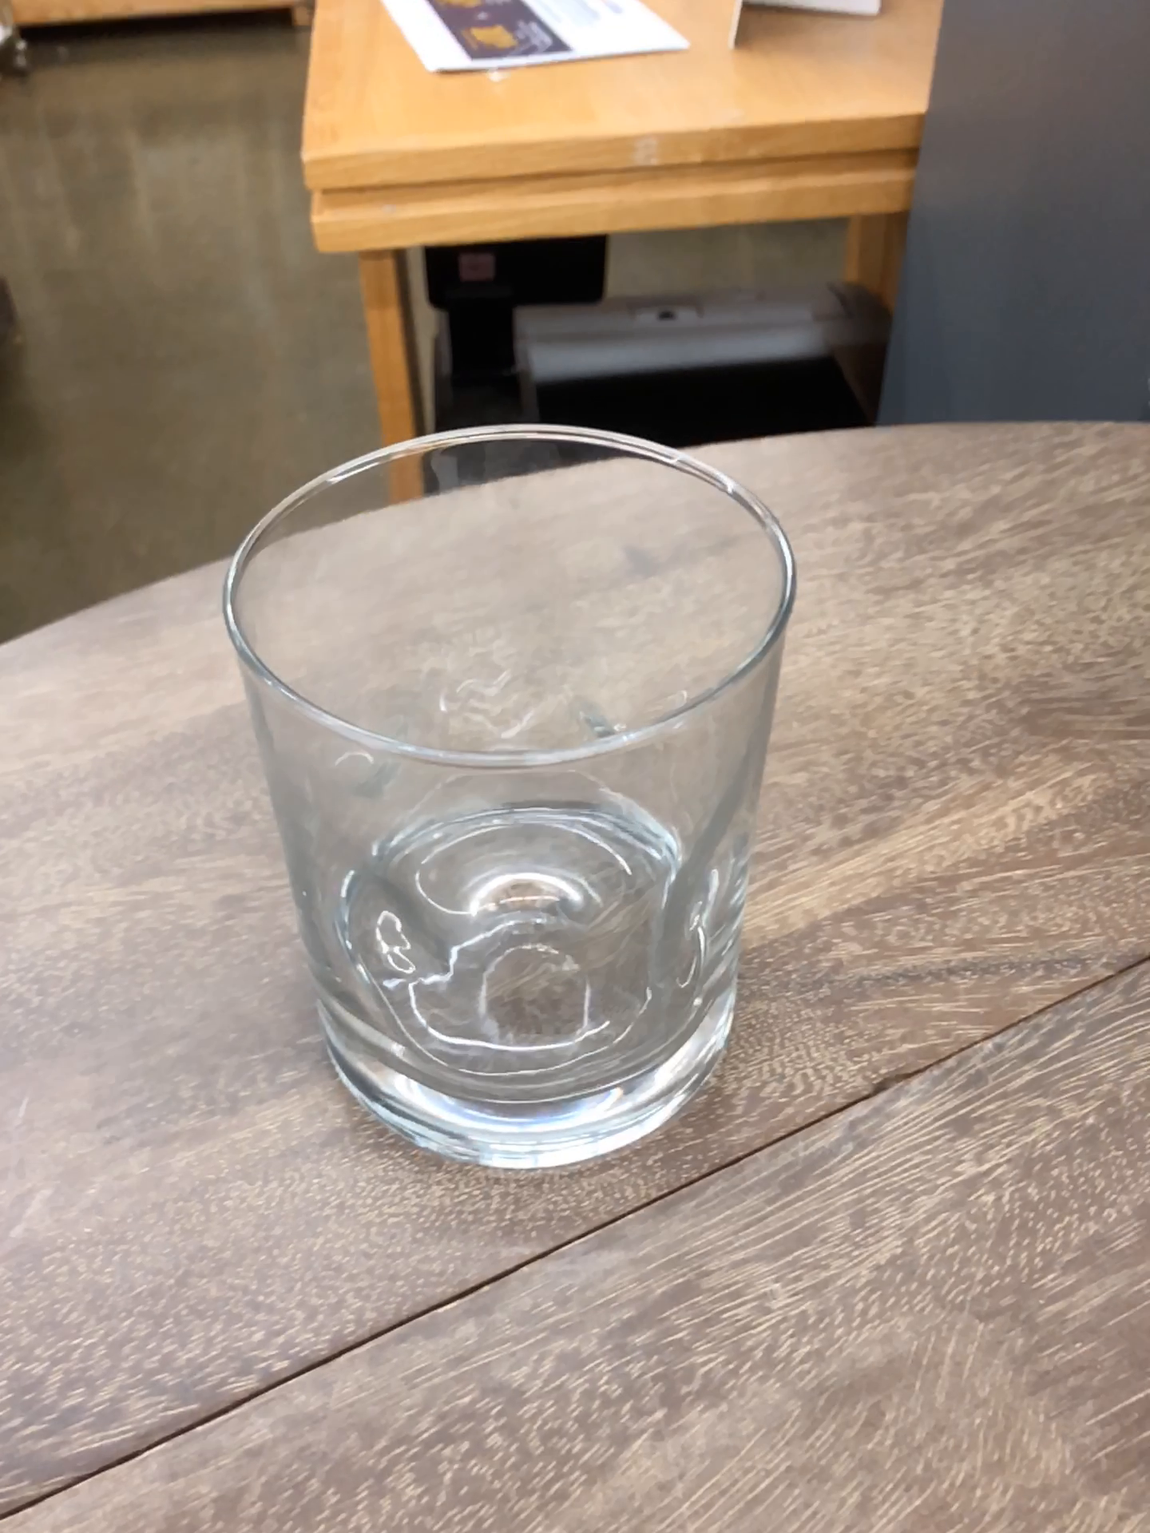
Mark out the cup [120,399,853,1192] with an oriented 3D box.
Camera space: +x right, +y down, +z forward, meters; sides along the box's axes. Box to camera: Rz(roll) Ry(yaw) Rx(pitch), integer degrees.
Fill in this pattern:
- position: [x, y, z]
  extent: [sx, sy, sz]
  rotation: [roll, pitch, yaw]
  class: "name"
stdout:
- position: [-0.010, 0.006, 0.211]
  extent: [0.084, 0.098, 0.084]
  rotation: [-1, 43, 1]
  class: "cup"
